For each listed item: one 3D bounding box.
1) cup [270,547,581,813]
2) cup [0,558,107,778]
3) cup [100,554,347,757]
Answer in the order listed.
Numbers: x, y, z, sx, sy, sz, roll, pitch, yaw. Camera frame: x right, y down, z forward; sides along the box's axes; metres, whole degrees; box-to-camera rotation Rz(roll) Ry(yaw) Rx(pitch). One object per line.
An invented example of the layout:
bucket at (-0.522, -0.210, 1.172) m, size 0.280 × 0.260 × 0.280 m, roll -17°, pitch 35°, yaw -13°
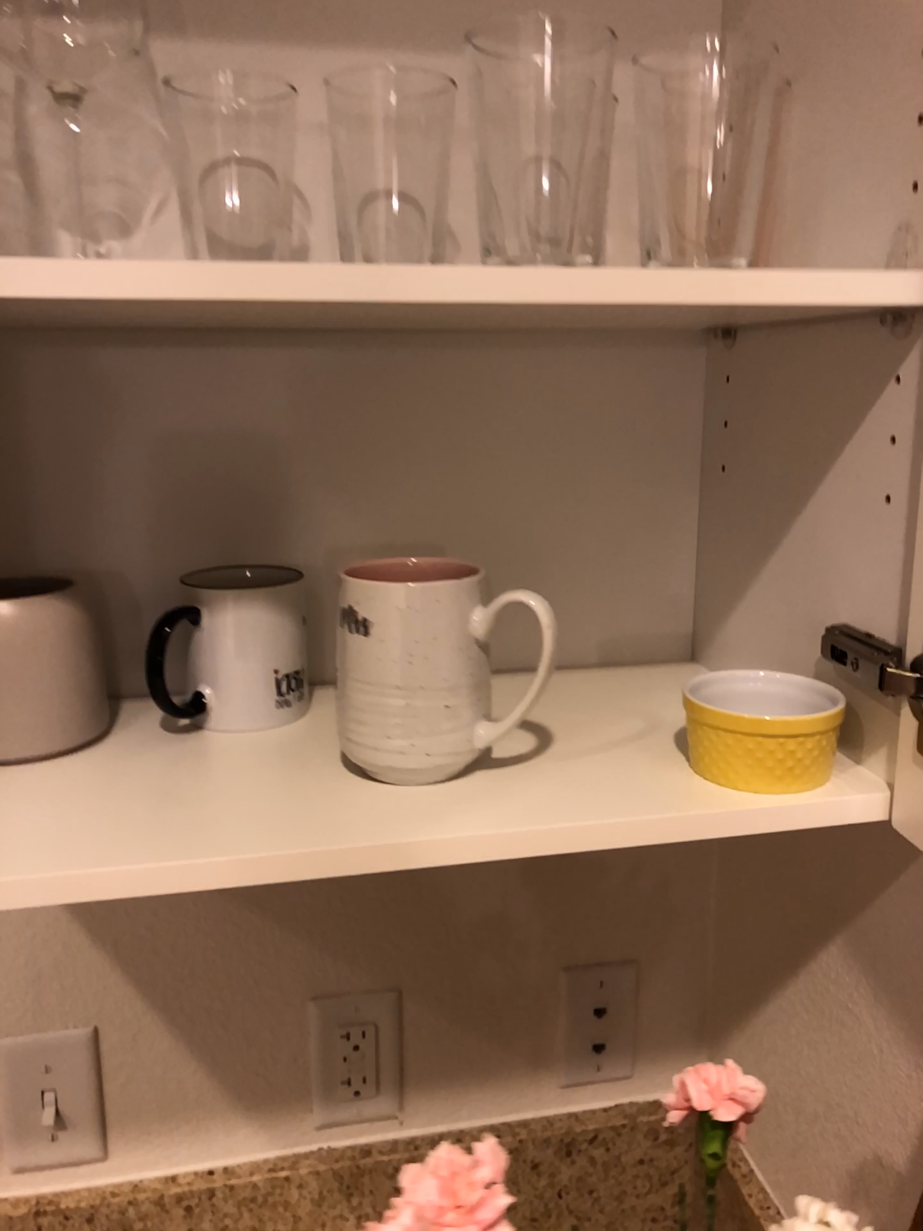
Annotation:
cup at (-0.017, 0.028, 0.553) m, size 0.140 × 0.110 × 0.090 m, roll 5°, pitch 13°, yaw 23°
cup at (-0.280, 0.024, 0.627) m, size 0.110 × 0.090 × 0.150 m, roll -5°, pitch 13°, yaw -18°
cup at (-0.142, 0.018, 0.622) m, size 0.090 × 0.090 × 0.110 m, roll 9°, pitch 15°, yaw 36°
